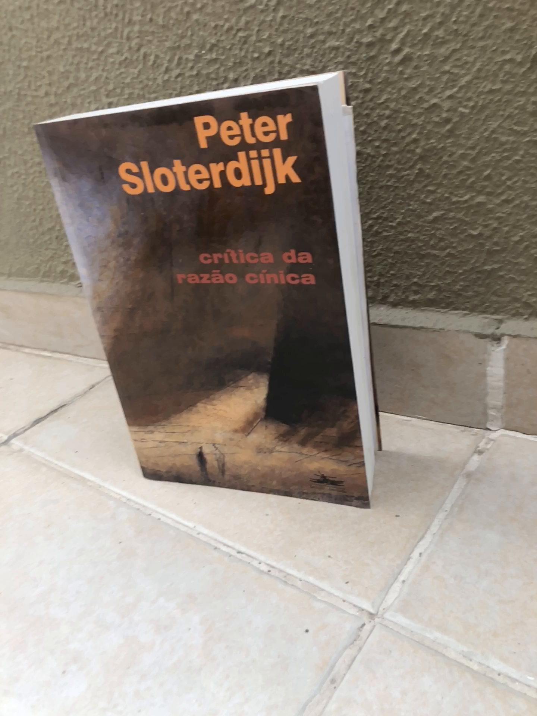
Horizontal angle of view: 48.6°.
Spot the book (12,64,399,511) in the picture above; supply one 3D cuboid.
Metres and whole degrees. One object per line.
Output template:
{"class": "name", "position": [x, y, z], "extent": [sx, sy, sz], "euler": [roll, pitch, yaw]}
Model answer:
{"class": "book", "position": [-0.023, -0.029, 0.335], "extent": [0.165, 0.220, 0.058], "euler": [2, 29, 23]}
